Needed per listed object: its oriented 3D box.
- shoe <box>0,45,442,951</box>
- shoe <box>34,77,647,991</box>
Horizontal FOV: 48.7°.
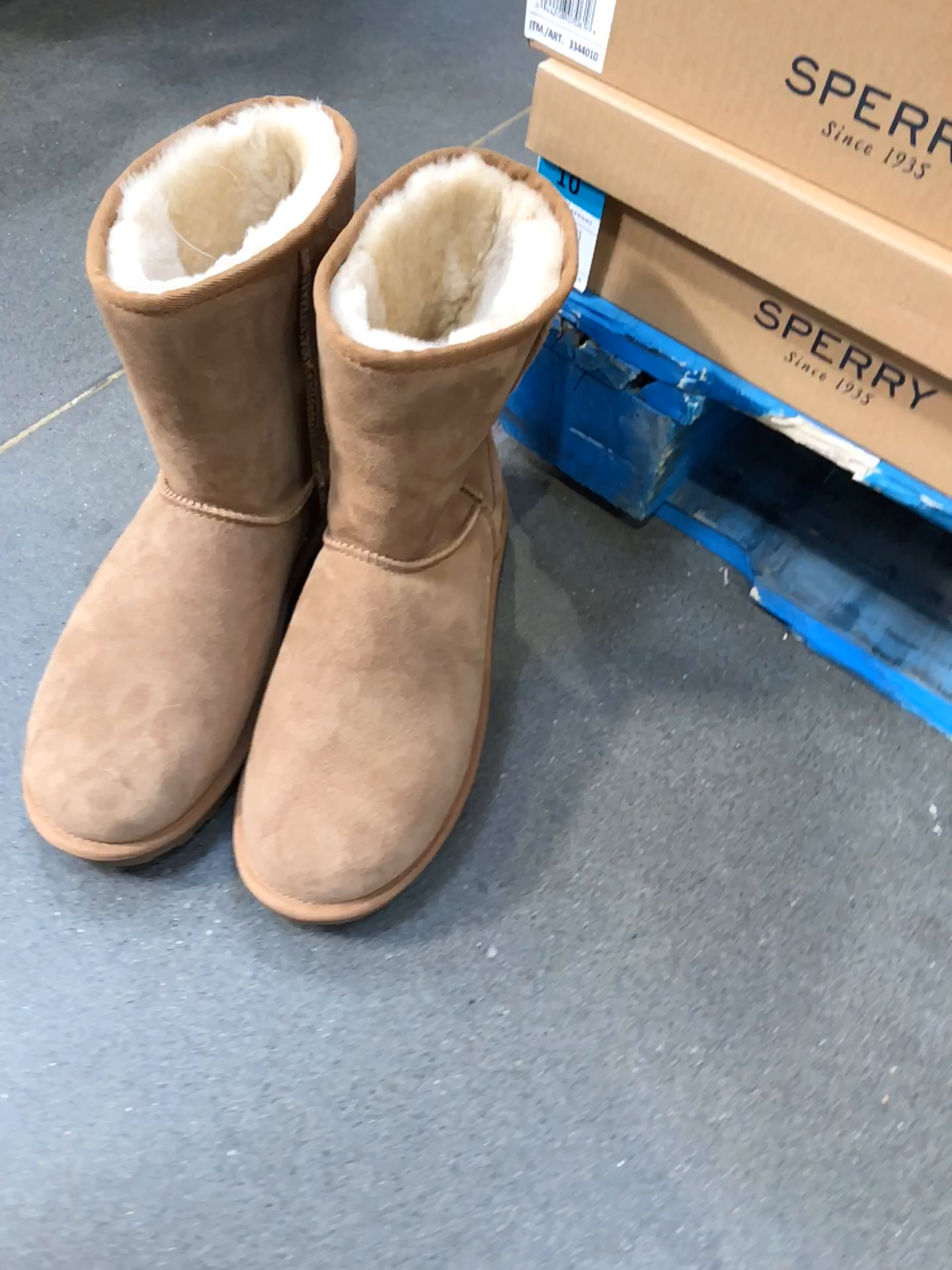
[{"bbox_3d":[-0.133,-0.058,0.497,0.130,0.259,0.311,17,56,7],"label":"shoe"},{"bbox_3d":[-0.035,-0.040,0.490,0.130,0.259,0.311,14,56,5],"label":"shoe"}]
